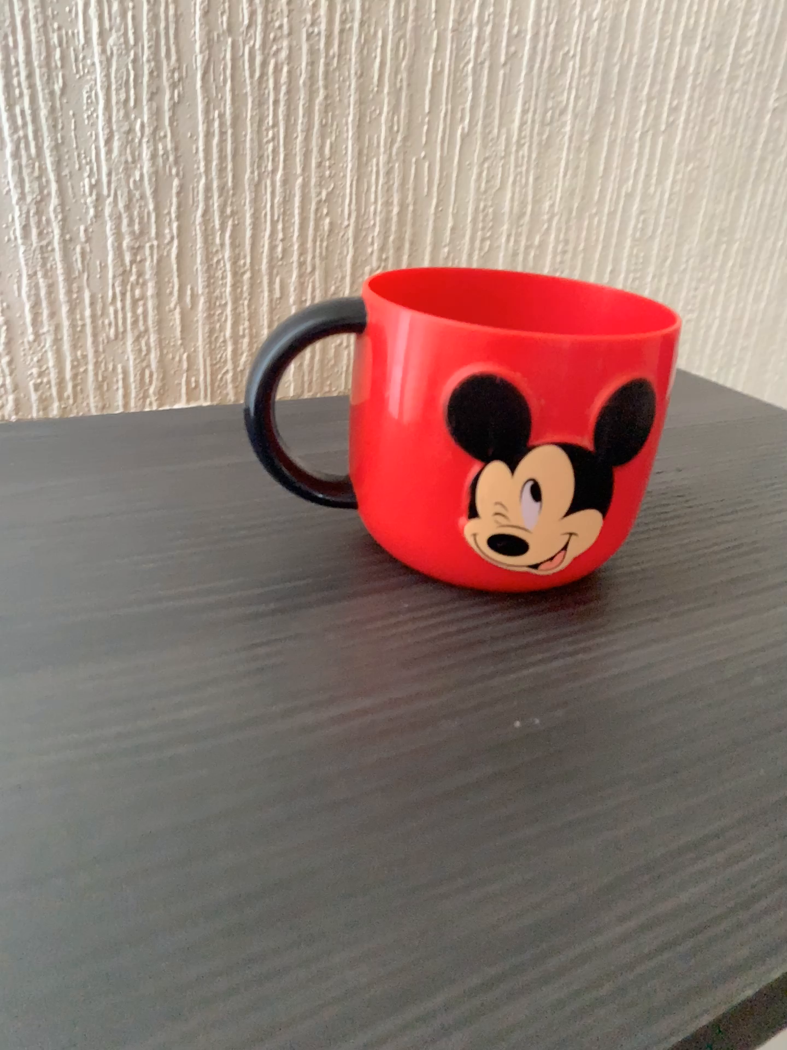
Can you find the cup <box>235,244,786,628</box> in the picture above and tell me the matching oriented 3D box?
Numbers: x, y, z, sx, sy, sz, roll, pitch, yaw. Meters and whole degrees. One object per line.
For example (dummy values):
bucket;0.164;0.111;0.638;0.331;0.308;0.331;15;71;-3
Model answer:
cup;0.025;-0.033;0.231;0.130;0.069;0.101;-2;27;-15
